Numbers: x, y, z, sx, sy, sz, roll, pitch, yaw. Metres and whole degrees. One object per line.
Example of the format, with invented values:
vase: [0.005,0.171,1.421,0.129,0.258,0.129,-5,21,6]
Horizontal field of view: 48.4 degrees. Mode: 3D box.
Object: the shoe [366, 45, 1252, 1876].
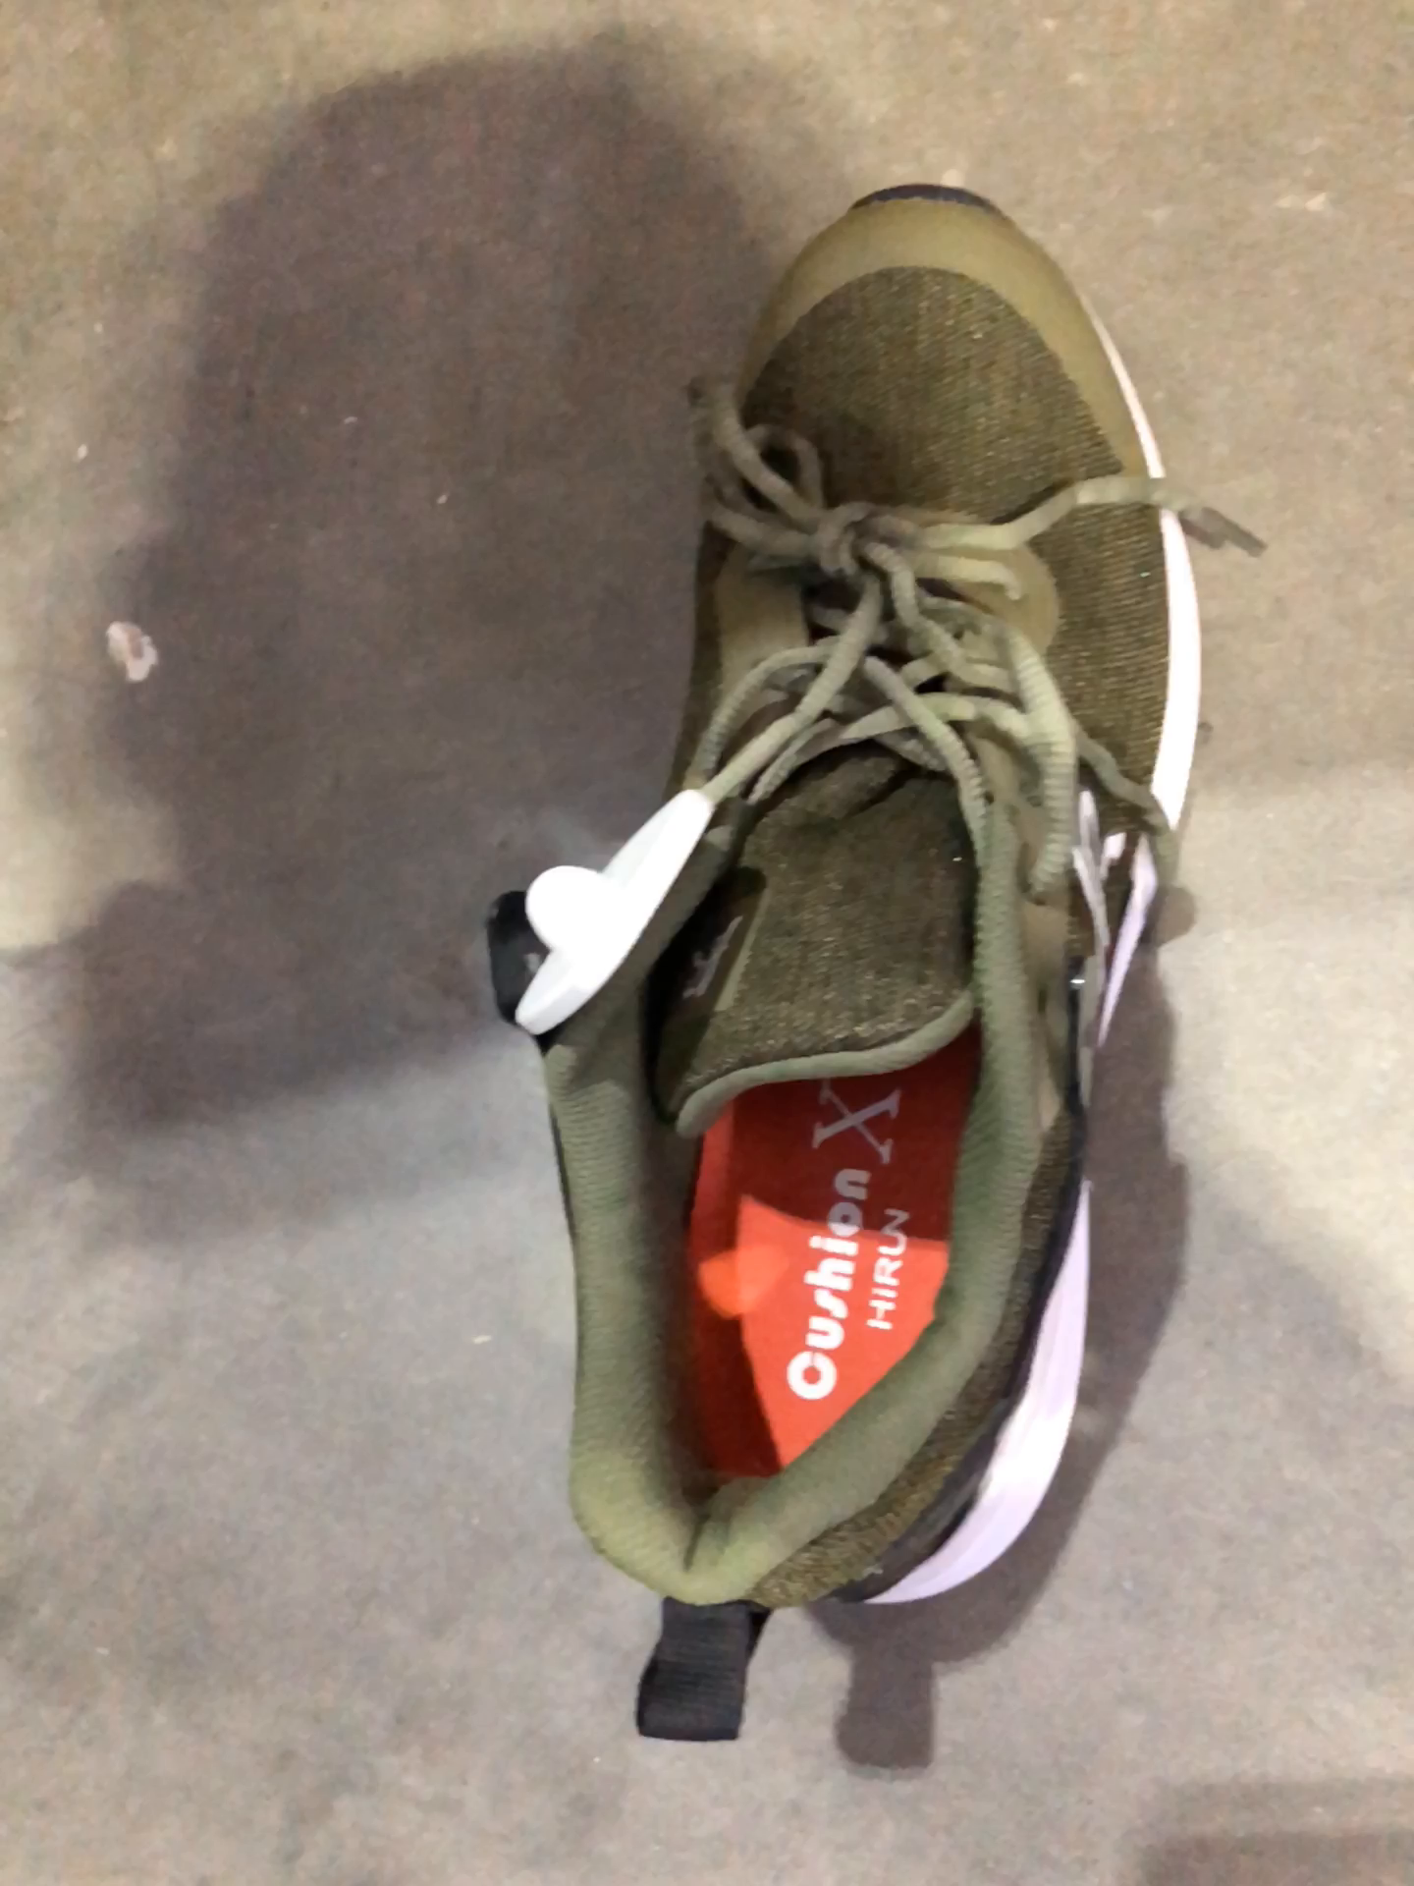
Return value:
shoe: [0.028,-0.004,0.310,0.120,0.100,0.290,5,85,14]
